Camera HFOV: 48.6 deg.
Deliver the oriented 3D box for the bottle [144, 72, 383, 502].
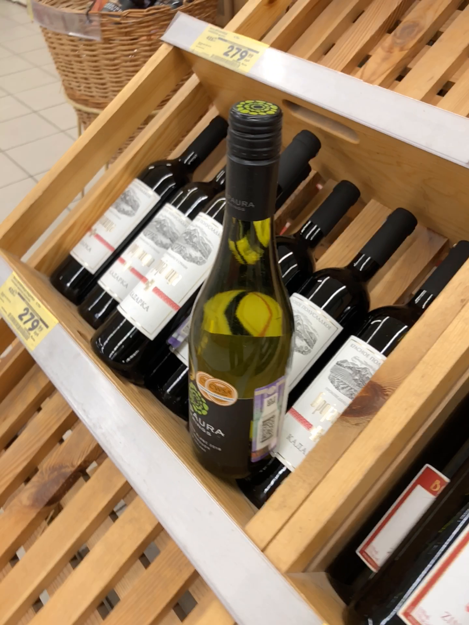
[{"bbox_3d":[0.008,0.001,0.368,0.090,0.288,0.090,2,41,-2],"label":"bottle"}]
